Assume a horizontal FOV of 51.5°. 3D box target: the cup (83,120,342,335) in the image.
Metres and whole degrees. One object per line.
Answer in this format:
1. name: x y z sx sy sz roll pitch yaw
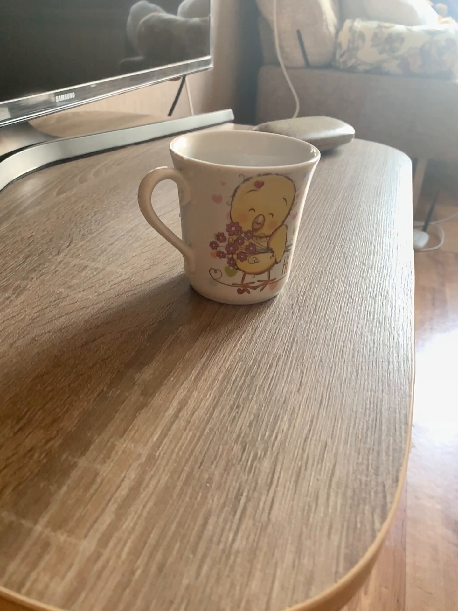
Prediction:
1. cup: -0.009 -0.050 0.260 0.110 0.080 0.070 -17 36 -30
